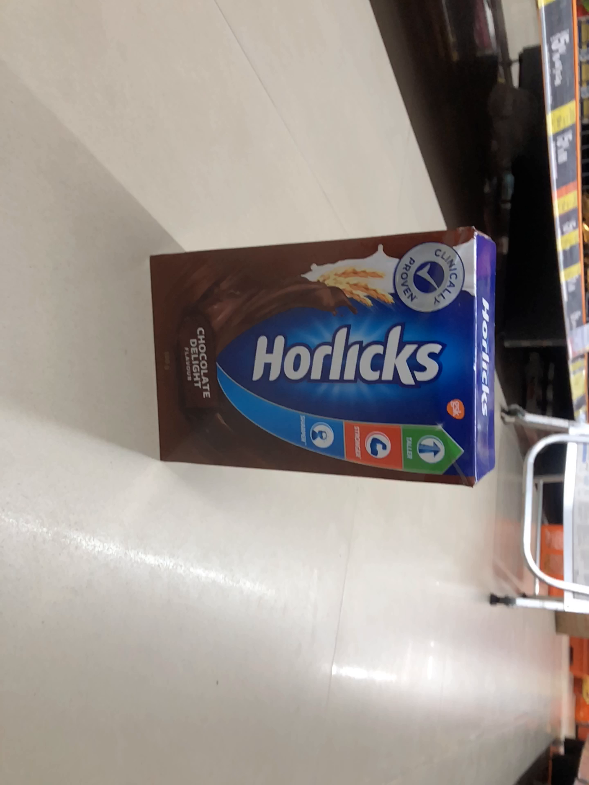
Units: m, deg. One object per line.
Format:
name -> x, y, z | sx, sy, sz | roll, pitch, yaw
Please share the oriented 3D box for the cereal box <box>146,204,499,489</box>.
cereal box -> 0.014, -0.024, 0.389 | 0.060, 0.199, 0.140 | -10, 99, -65
